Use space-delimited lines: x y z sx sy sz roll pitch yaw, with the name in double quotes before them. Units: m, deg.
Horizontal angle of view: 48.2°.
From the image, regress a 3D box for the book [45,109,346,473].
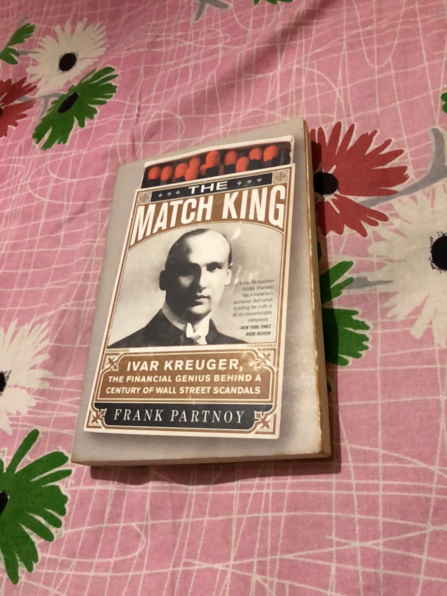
"book" -0.013 -0.015 0.329 0.160 0.030 0.240 -9 55 18
